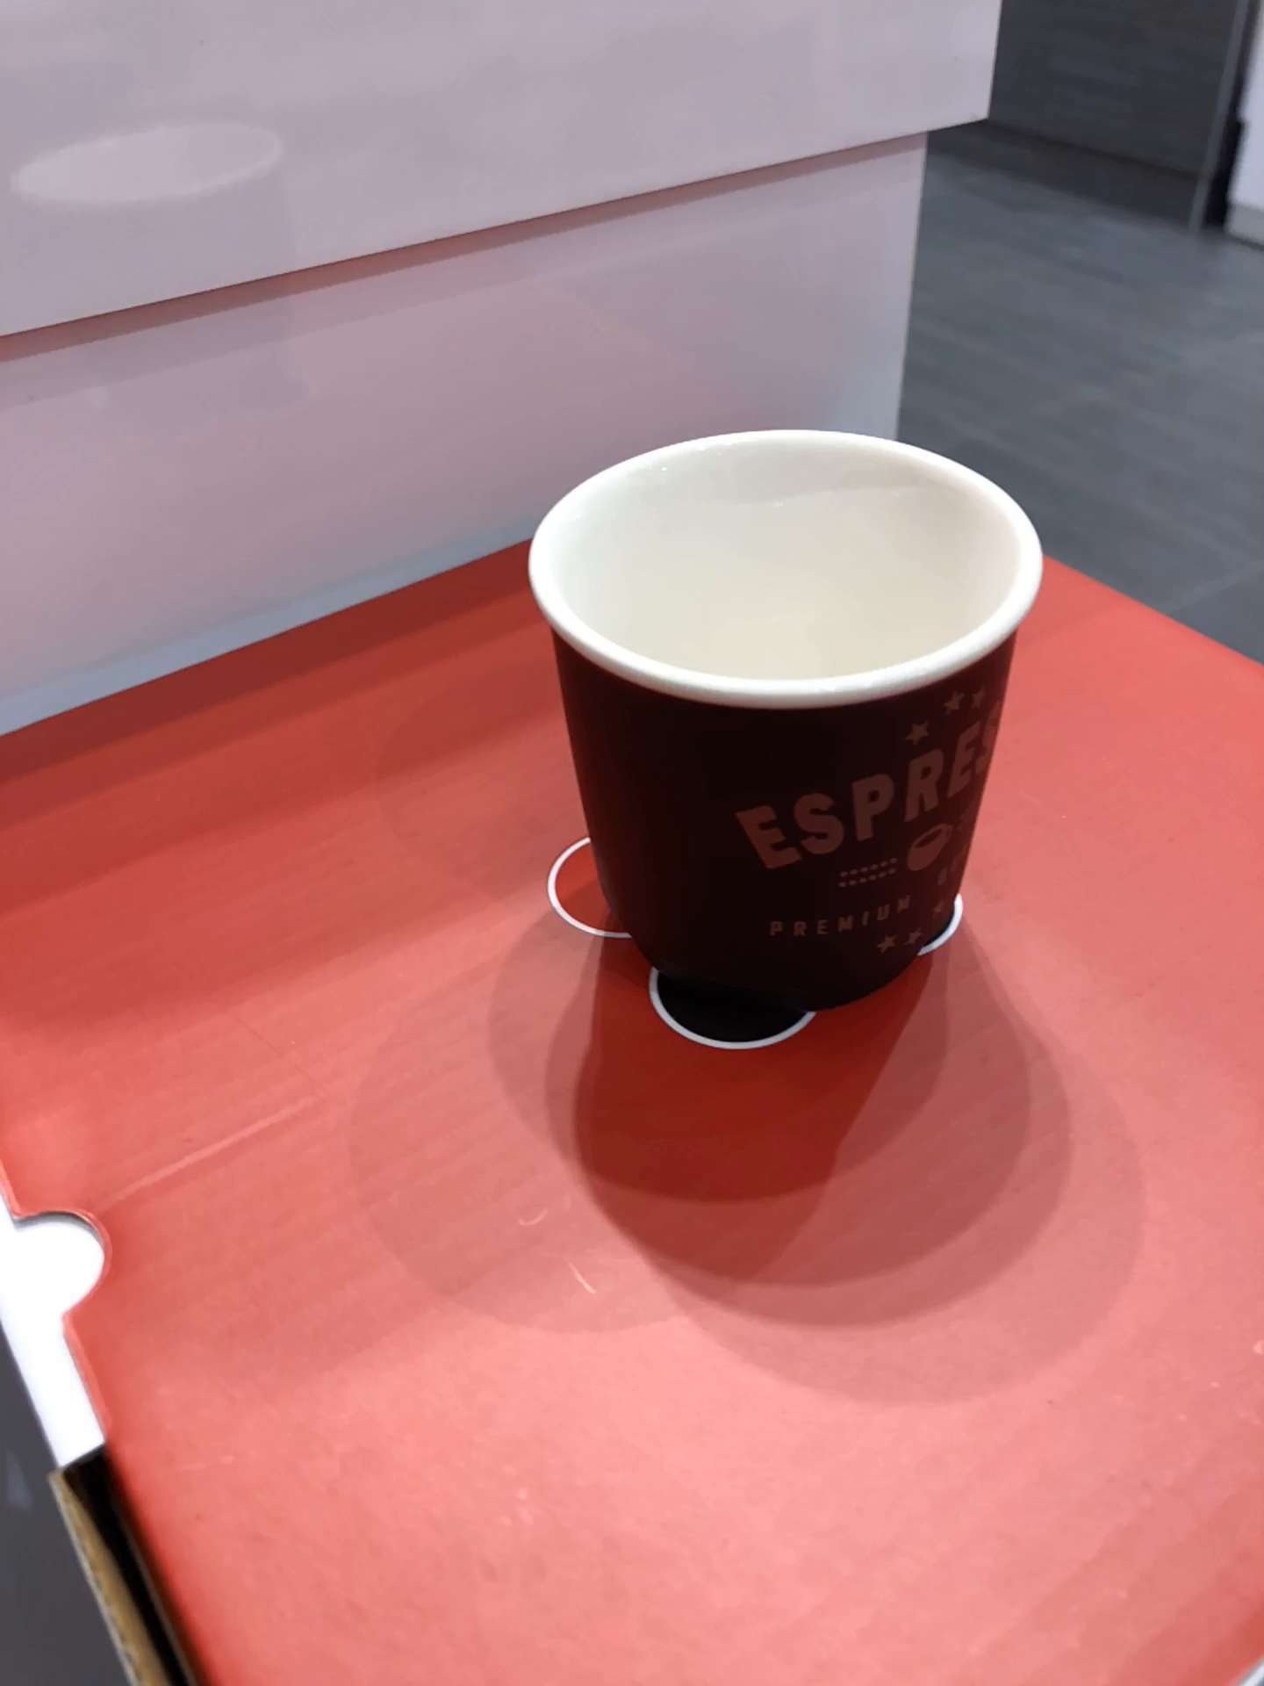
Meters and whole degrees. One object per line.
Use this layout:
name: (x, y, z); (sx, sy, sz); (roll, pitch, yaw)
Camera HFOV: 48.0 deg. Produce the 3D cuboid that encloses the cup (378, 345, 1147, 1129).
cup: (0.017, -0.019, 0.186); (0.060, 0.060, 0.070); (28, 48, 31)
